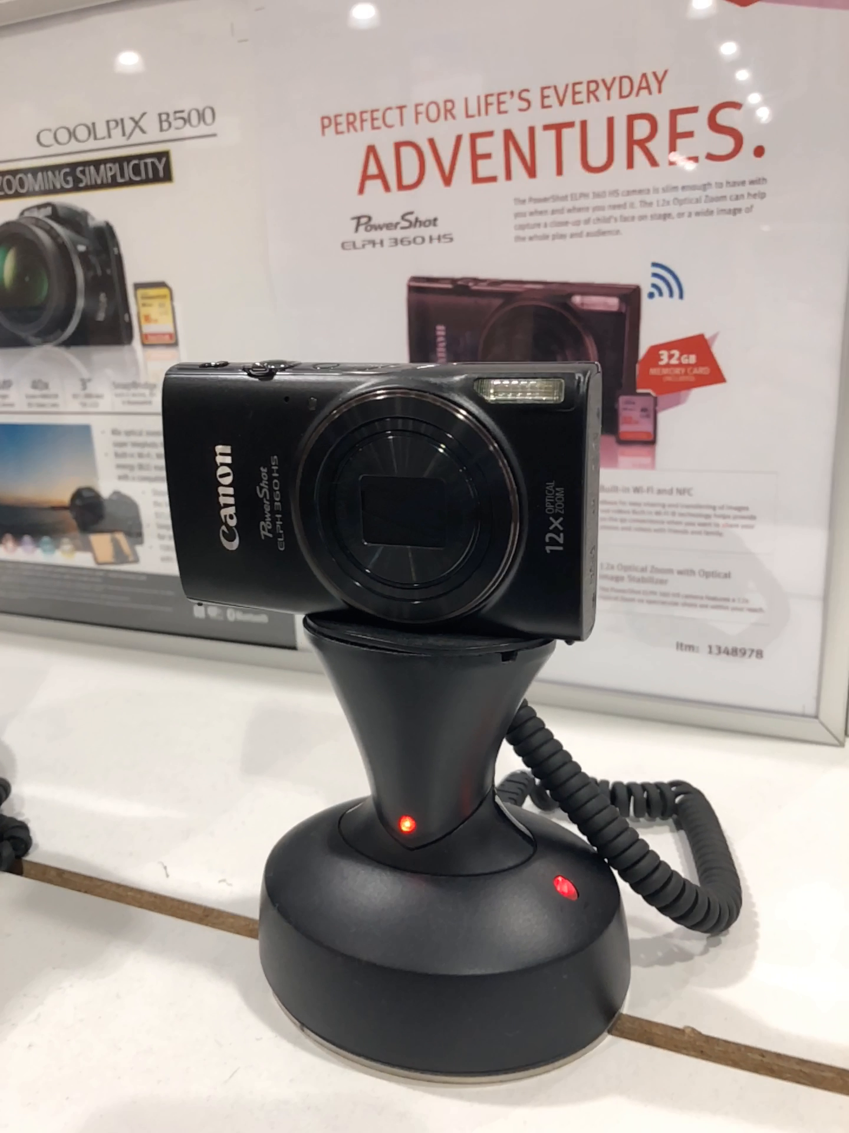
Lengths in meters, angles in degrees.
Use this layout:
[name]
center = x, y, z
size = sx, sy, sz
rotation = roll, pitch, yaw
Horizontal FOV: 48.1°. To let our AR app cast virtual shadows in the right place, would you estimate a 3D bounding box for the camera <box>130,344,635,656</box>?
[camera]
center = -0.010, -0.019, 0.220
size = 0.110, 0.060, 0.030
rotation = 5, 18, 23
